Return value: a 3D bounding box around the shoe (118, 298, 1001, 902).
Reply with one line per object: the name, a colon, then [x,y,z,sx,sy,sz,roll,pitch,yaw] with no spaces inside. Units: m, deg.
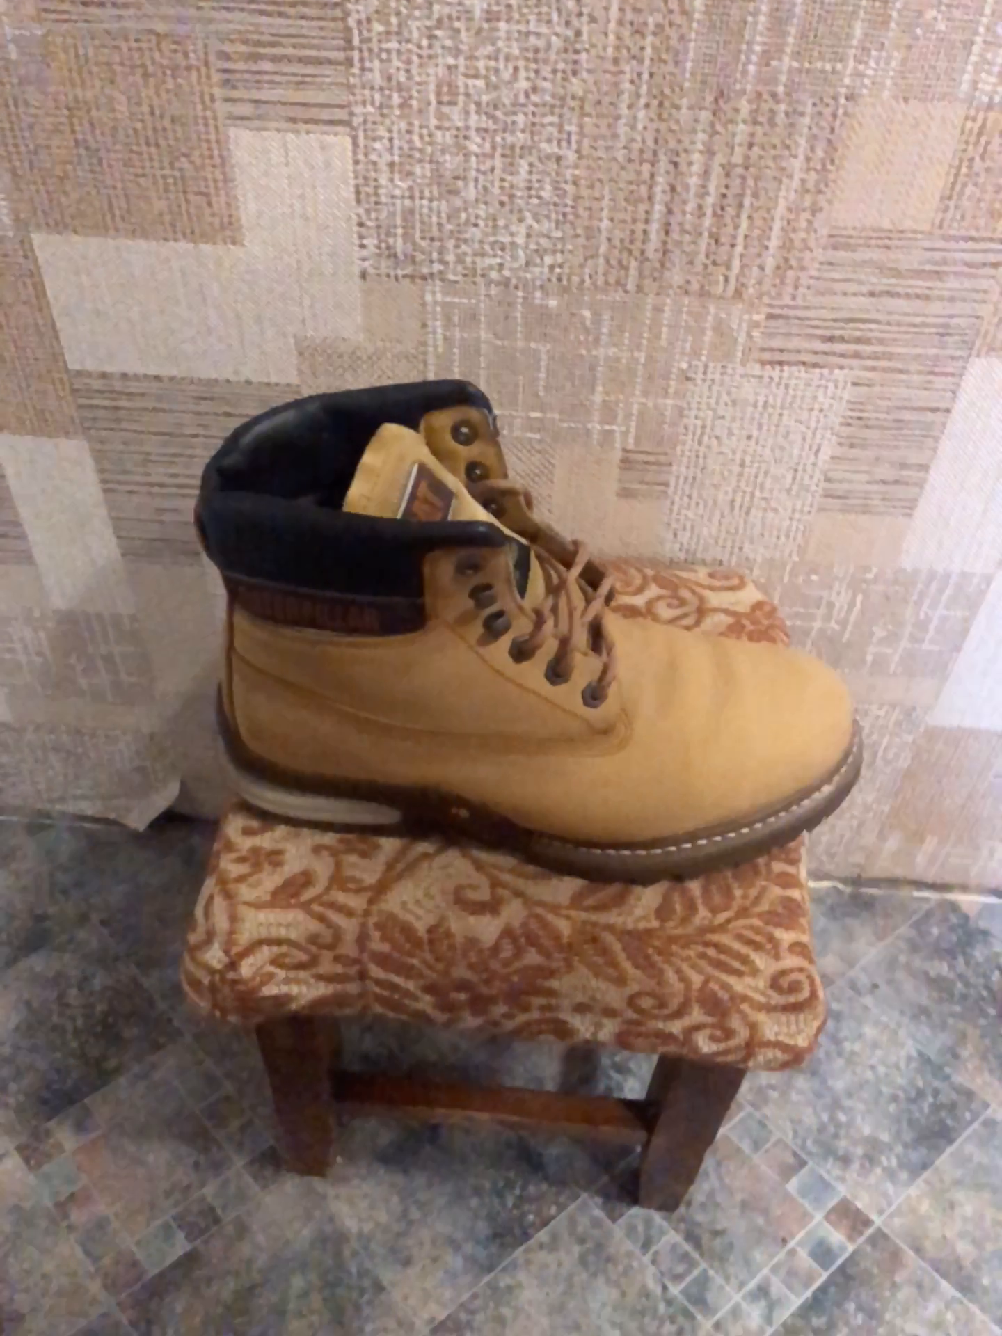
shoe: [0.032,-0.024,0.469,0.310,0.189,0.141,4,46,1]
